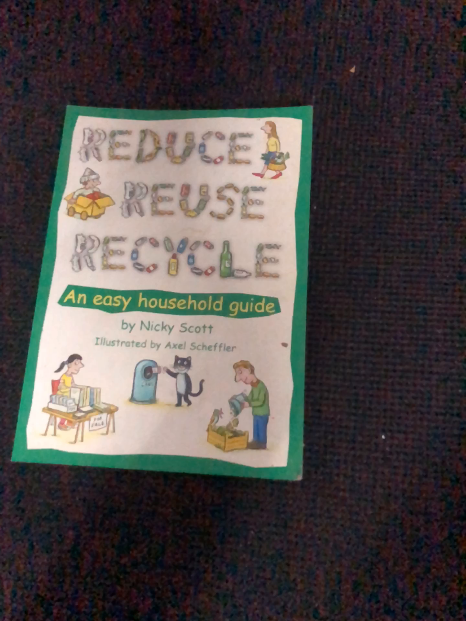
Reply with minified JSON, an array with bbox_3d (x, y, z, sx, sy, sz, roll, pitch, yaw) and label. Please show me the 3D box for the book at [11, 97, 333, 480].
[{"bbox_3d":[-0.022,-0.018,0.240,0.130,0.018,0.173,3,76,5],"label":"book"}]
